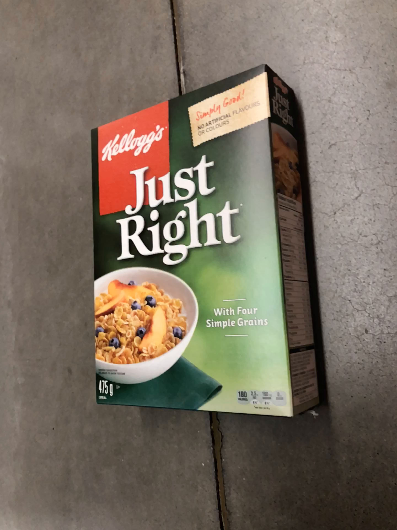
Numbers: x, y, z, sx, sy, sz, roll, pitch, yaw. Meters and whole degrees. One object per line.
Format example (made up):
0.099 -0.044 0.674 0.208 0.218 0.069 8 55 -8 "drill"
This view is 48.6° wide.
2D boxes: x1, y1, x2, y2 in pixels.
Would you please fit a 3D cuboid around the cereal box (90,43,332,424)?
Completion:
-0.003 -0.017 0.410 0.211 0.060 0.290 -8 81 33 "cereal box"
